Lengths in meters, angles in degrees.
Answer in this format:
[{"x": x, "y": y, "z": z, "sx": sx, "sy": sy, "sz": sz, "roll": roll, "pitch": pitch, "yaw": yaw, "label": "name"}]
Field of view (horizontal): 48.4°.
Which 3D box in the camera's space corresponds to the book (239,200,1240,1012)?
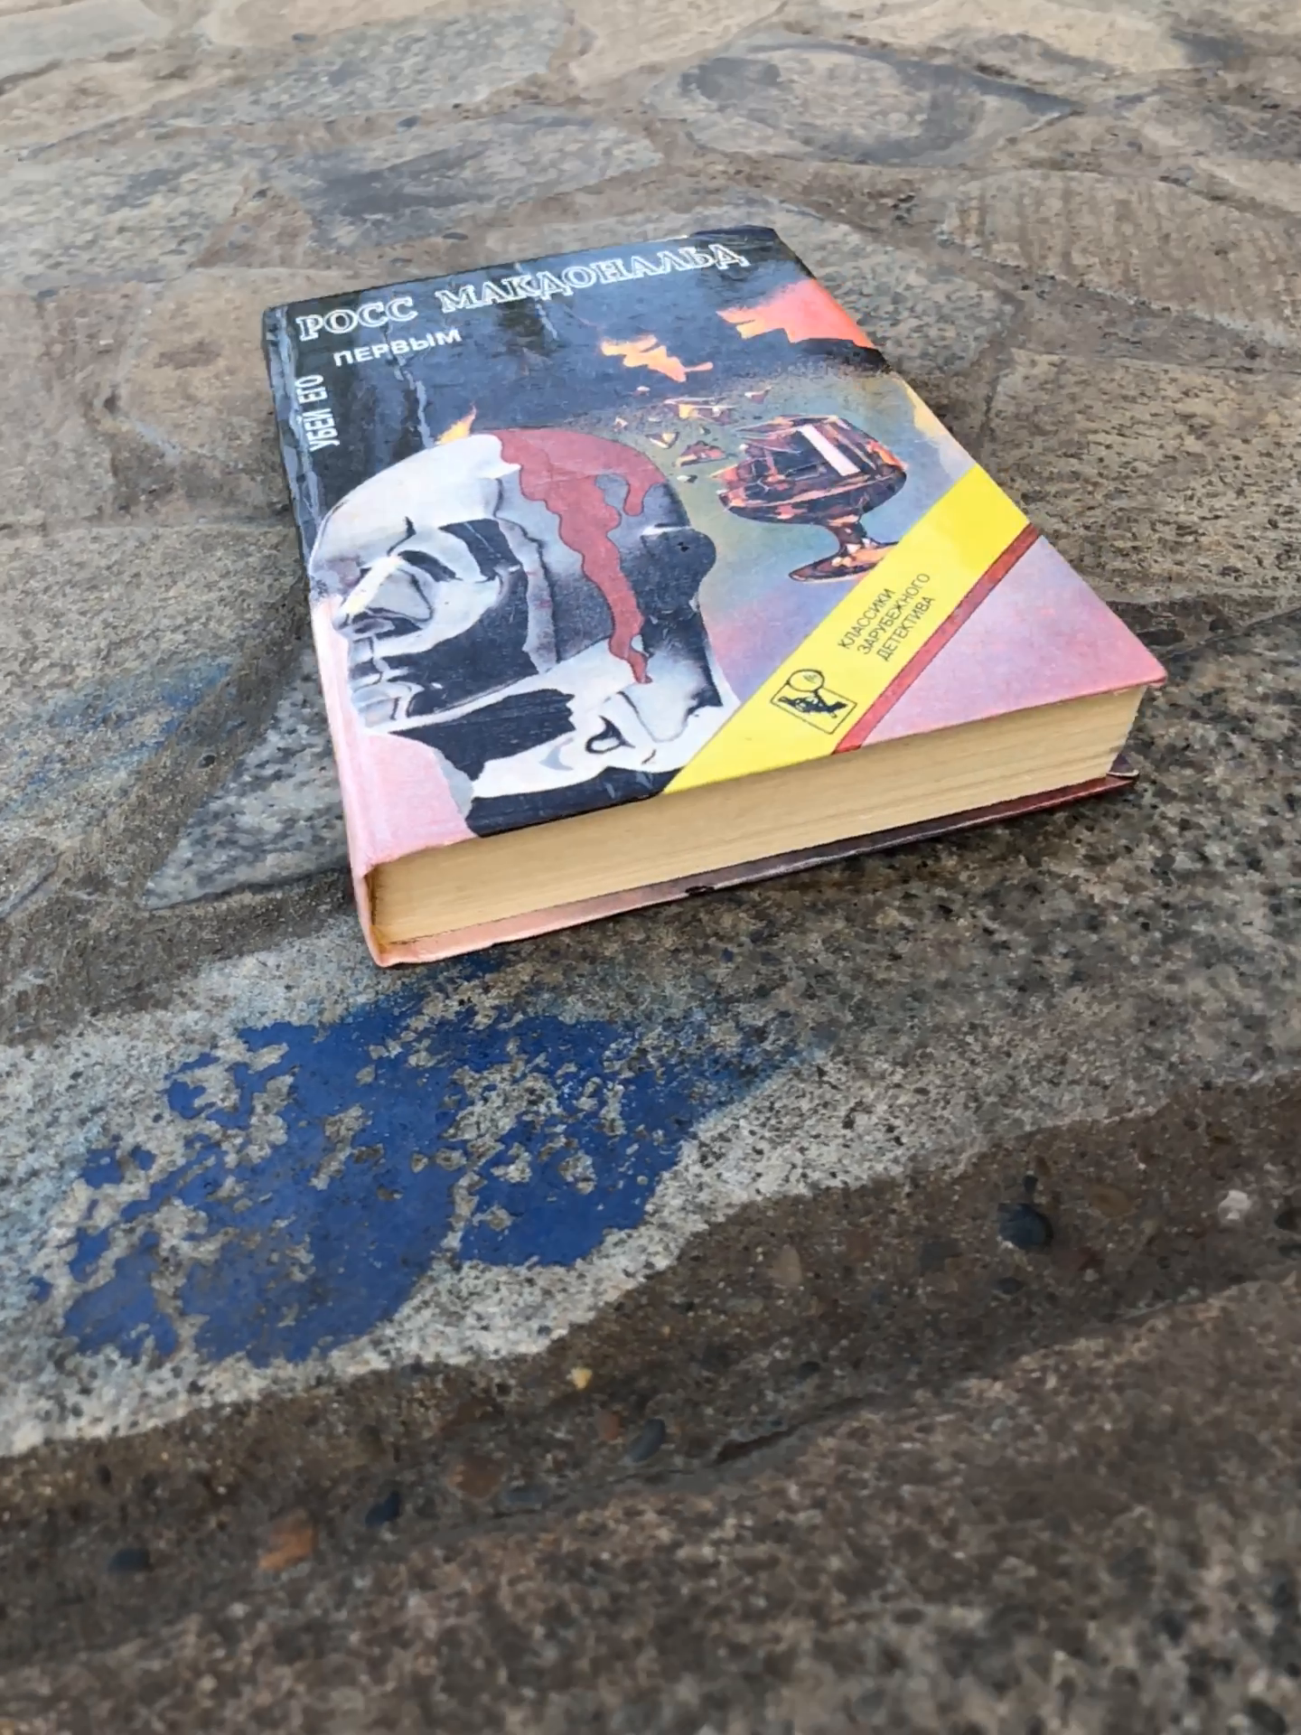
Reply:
[{"x": -0.004, "y": -0.074, "z": 0.296, "sx": 0.140, "sy": 0.030, "sz": 0.211, "roll": -13, "pitch": 45, "yaw": -8, "label": "book"}]
